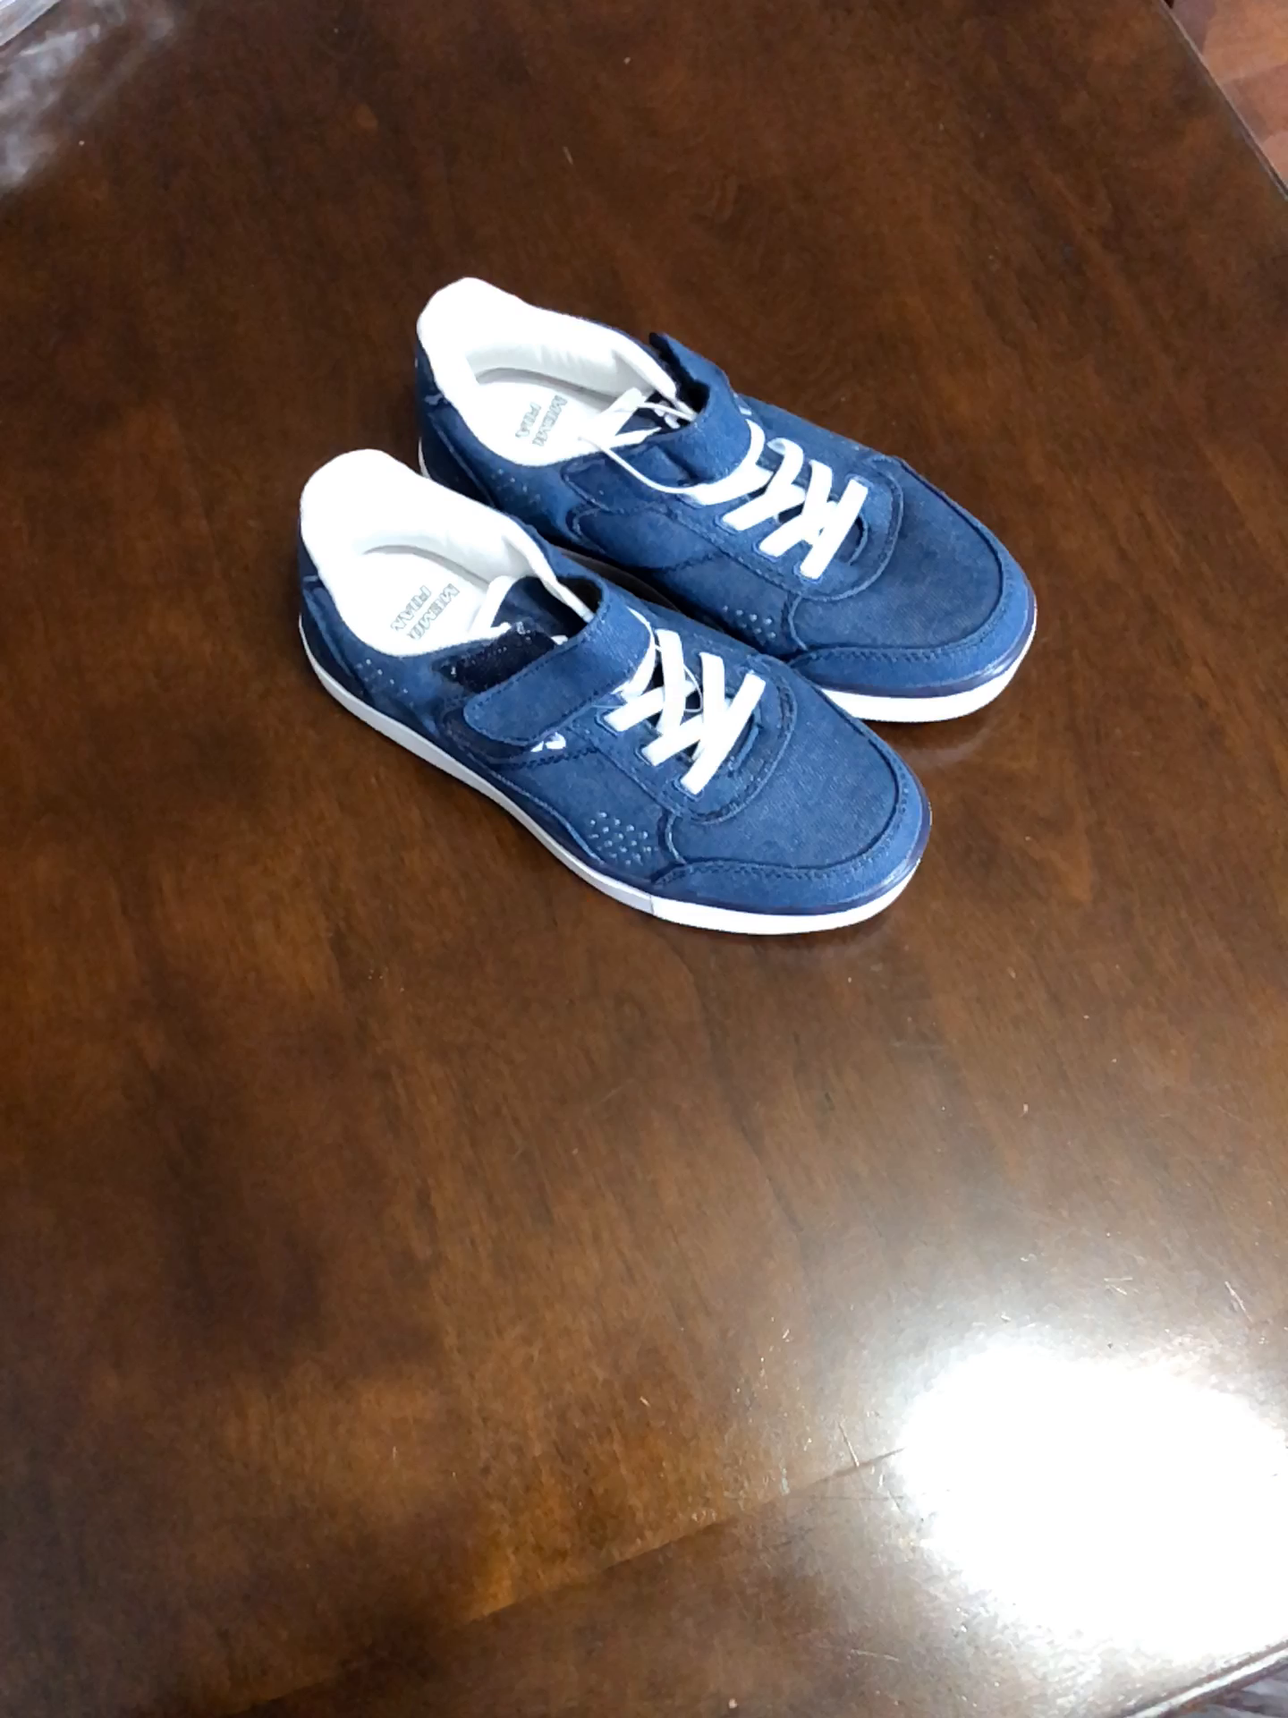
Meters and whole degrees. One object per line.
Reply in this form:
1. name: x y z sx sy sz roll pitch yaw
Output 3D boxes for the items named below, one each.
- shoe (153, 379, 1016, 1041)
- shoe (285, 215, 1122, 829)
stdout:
1. shoe: -0.019 -0.047 0.455 0.240 0.080 0.090 28 74 11
2. shoe: 0.018 -0.113 0.482 0.240 0.080 0.100 23 73 10
